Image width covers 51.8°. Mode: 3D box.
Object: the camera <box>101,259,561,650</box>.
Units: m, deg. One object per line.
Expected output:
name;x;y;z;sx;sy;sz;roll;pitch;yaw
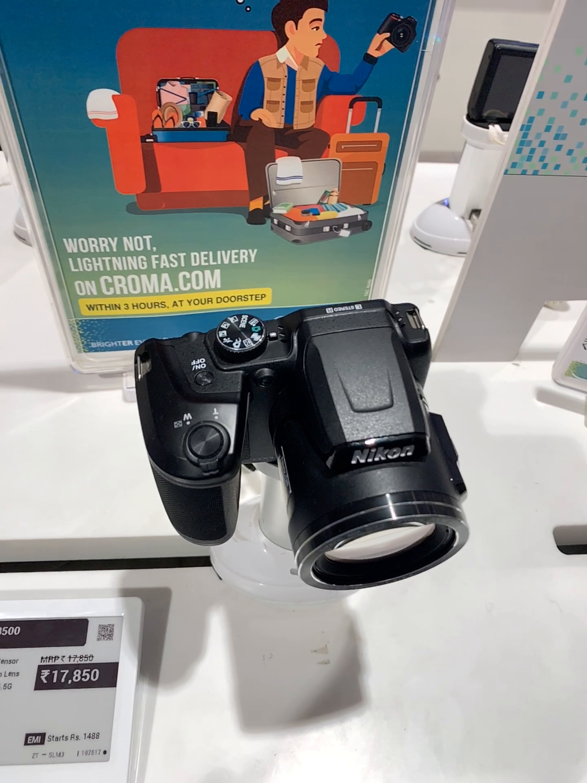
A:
camera;0.002;0.019;0.213;0.120;0.080;0.090;-8;50;-11
